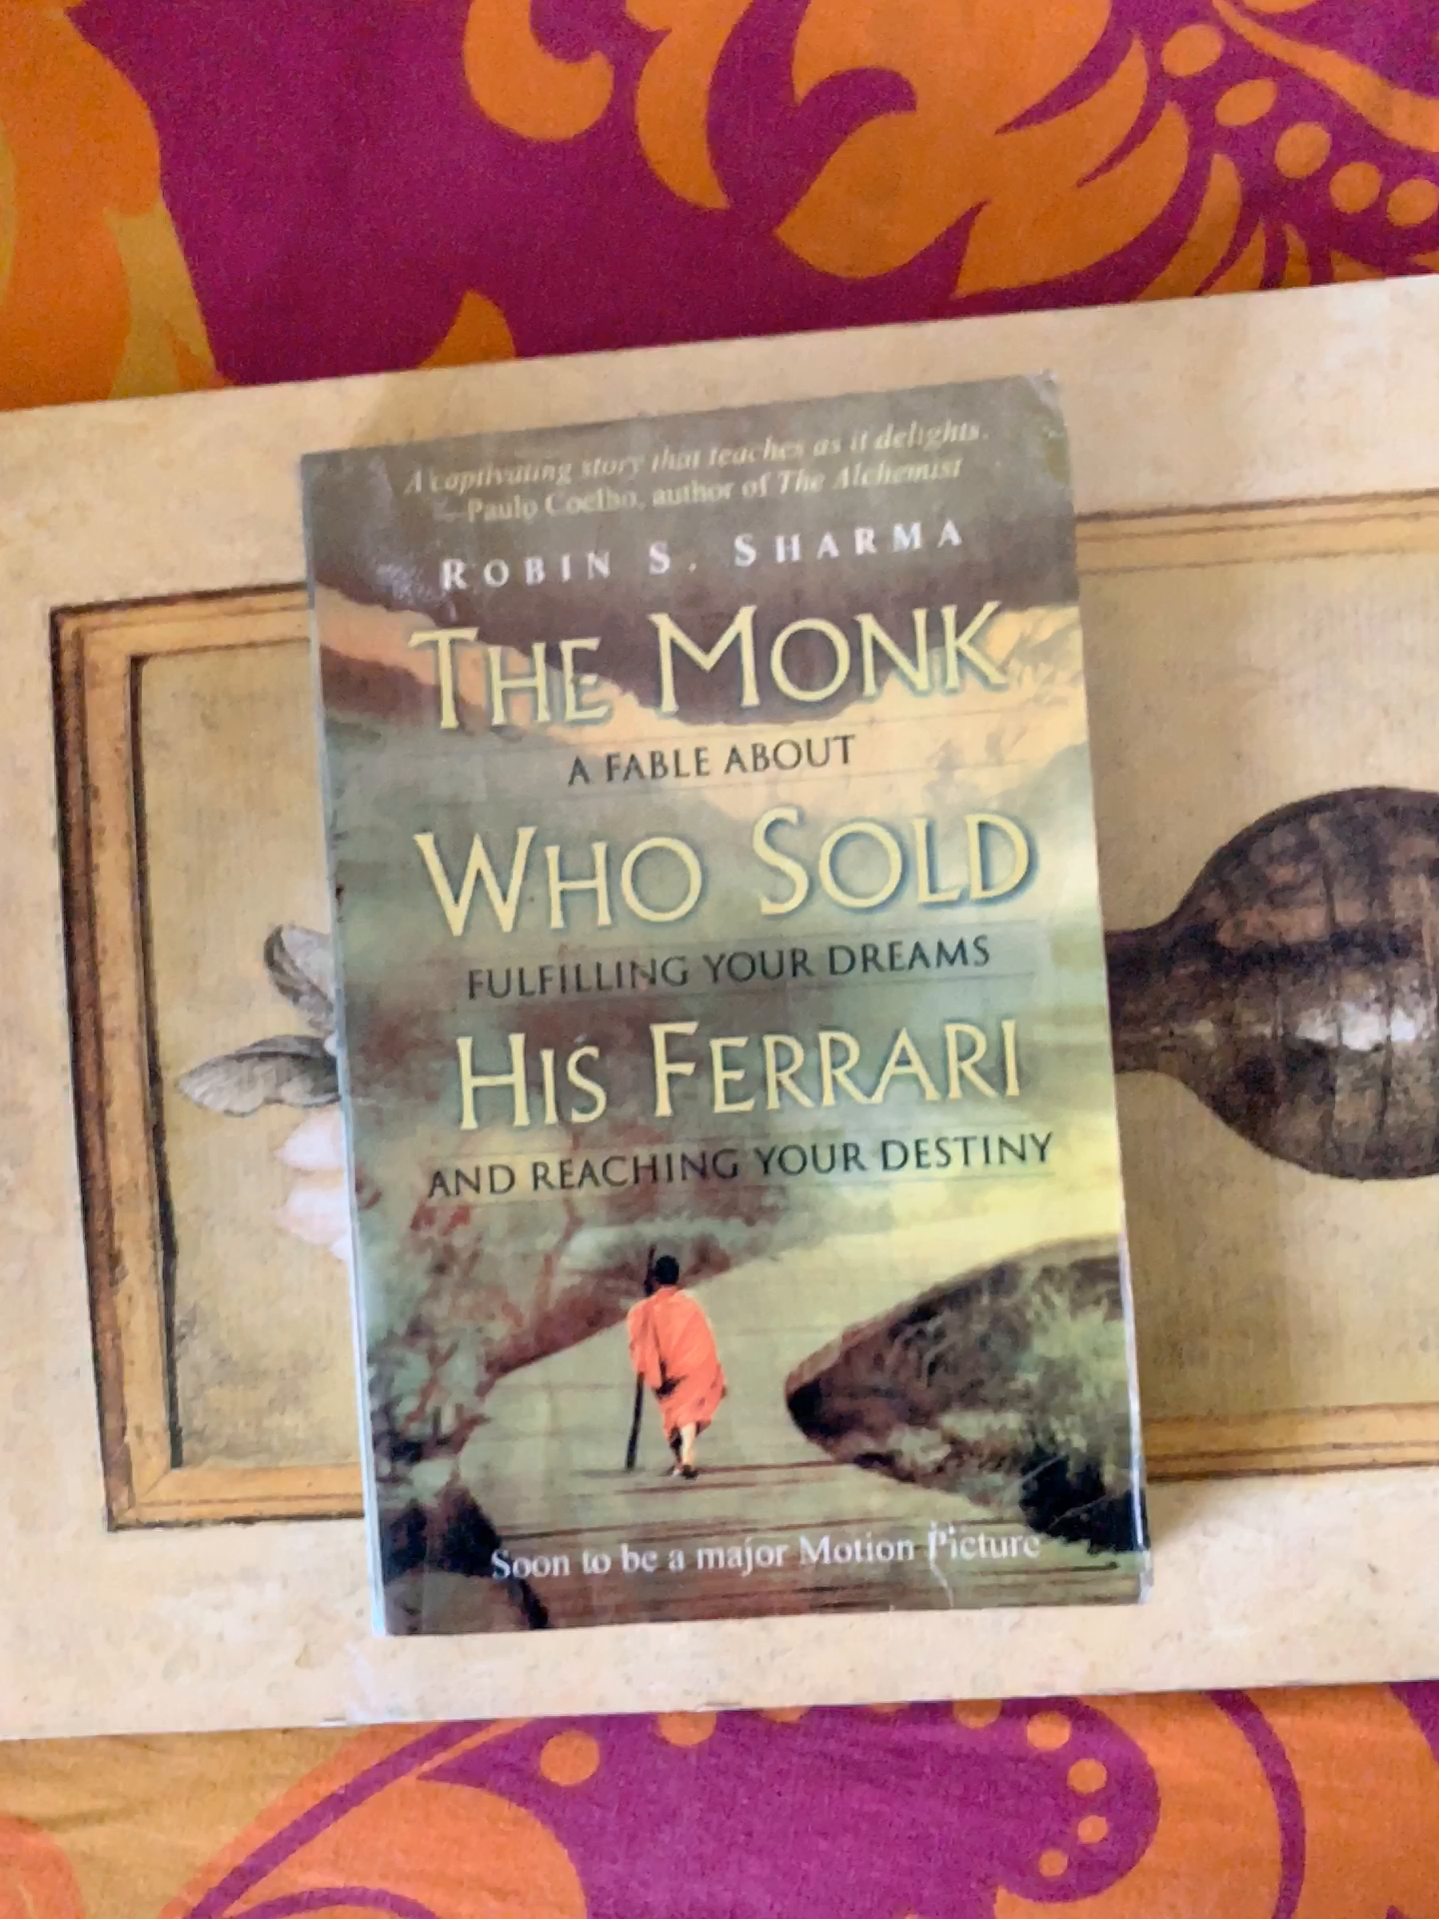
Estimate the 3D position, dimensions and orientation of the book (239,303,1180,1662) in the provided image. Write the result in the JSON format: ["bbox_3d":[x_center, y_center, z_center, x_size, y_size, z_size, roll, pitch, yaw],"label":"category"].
[{"bbox_3d":[-0.003,0.004,0.247,0.130,0.030,0.200,-5,89,2],"label":"book"}]
